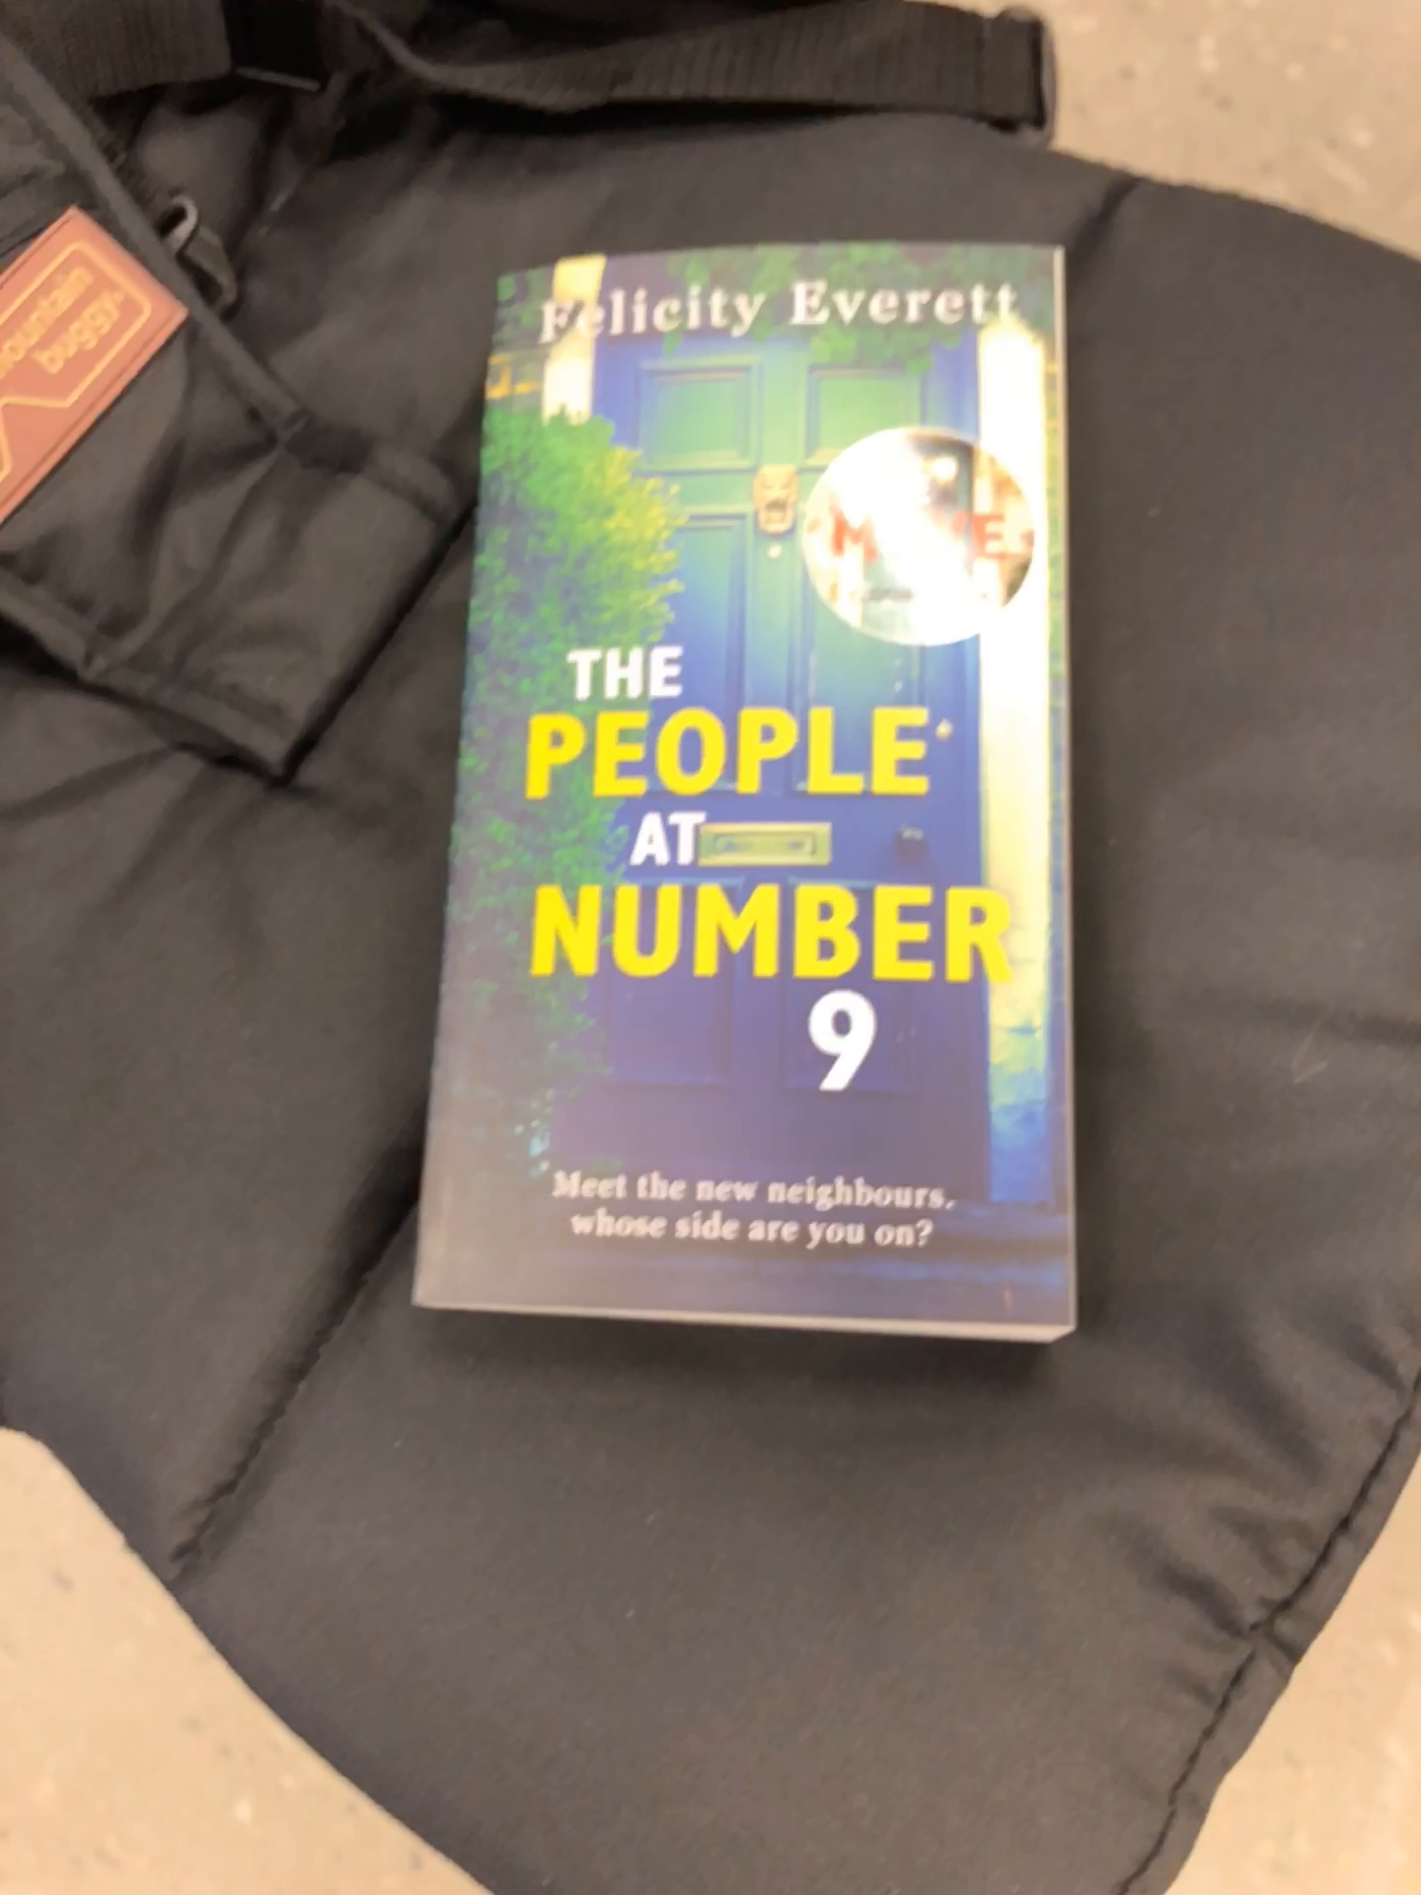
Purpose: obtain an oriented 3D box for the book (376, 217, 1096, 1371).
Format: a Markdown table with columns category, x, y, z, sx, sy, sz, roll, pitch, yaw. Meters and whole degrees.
| category | x | y | z | sx | sy | sz | roll | pitch | yaw |
| --- | --- | --- | --- | --- | --- | --- | --- | --- | --- |
| book | 0.008 | -0.030 | 0.279 | 0.110 | 0.030 | 0.195 | 2 | 78 | 3 |
